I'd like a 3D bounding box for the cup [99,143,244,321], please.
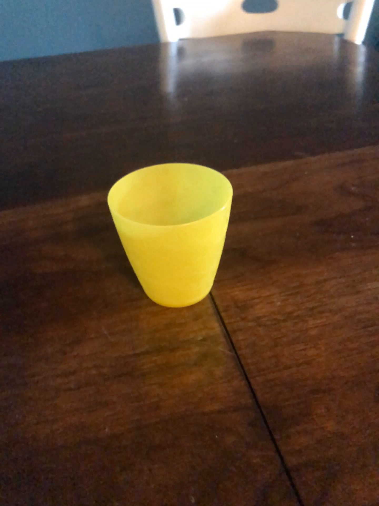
[{"bbox_3d":[-0.014,-0.017,0.290,0.080,0.080,0.080,-2,37,2],"label":"cup"}]
